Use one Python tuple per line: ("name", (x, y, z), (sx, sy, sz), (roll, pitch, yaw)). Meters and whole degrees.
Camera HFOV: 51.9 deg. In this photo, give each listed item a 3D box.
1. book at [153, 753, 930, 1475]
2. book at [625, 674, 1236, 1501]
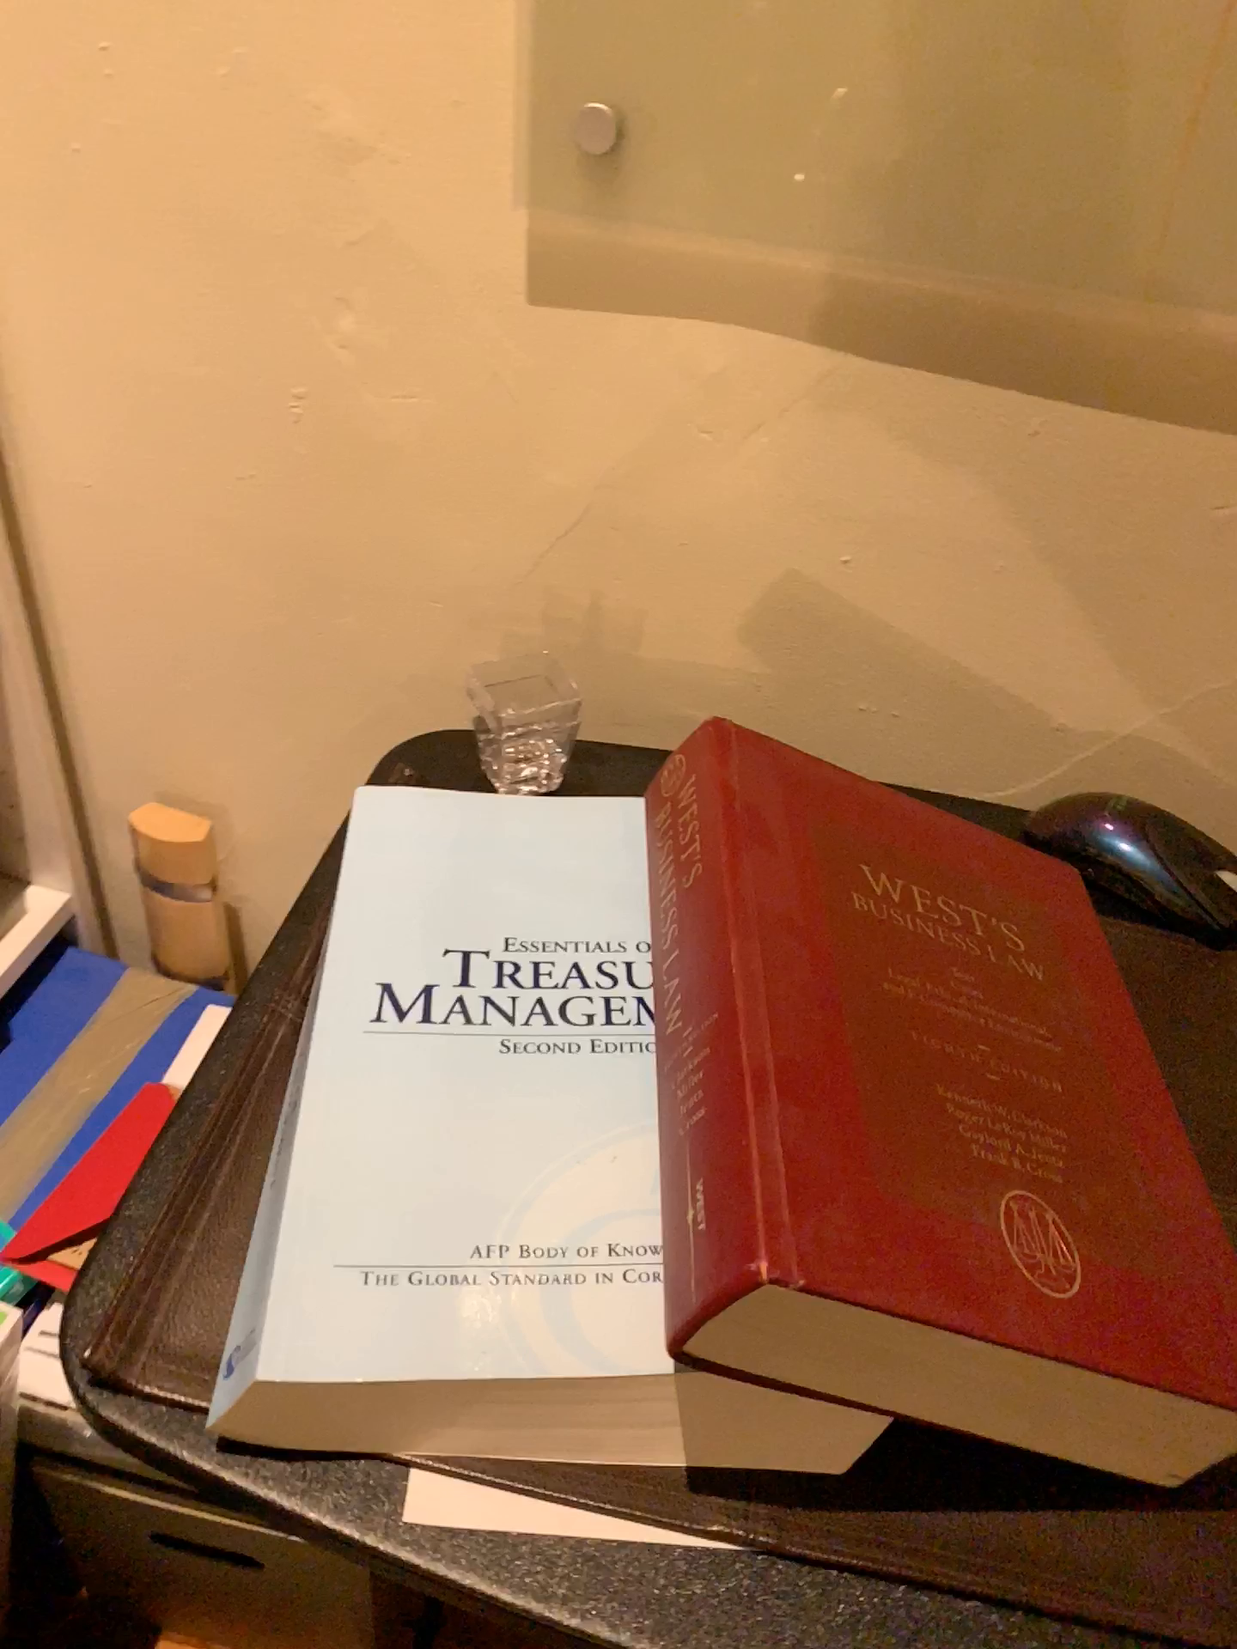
("book", (-0.024, 0.089, 0.486), (0.220, 0.070, 0.272), (3, 40, -3))
("book", (0.109, 0.080, 0.474), (0.210, 0.050, 0.272), (23, 36, -19))
